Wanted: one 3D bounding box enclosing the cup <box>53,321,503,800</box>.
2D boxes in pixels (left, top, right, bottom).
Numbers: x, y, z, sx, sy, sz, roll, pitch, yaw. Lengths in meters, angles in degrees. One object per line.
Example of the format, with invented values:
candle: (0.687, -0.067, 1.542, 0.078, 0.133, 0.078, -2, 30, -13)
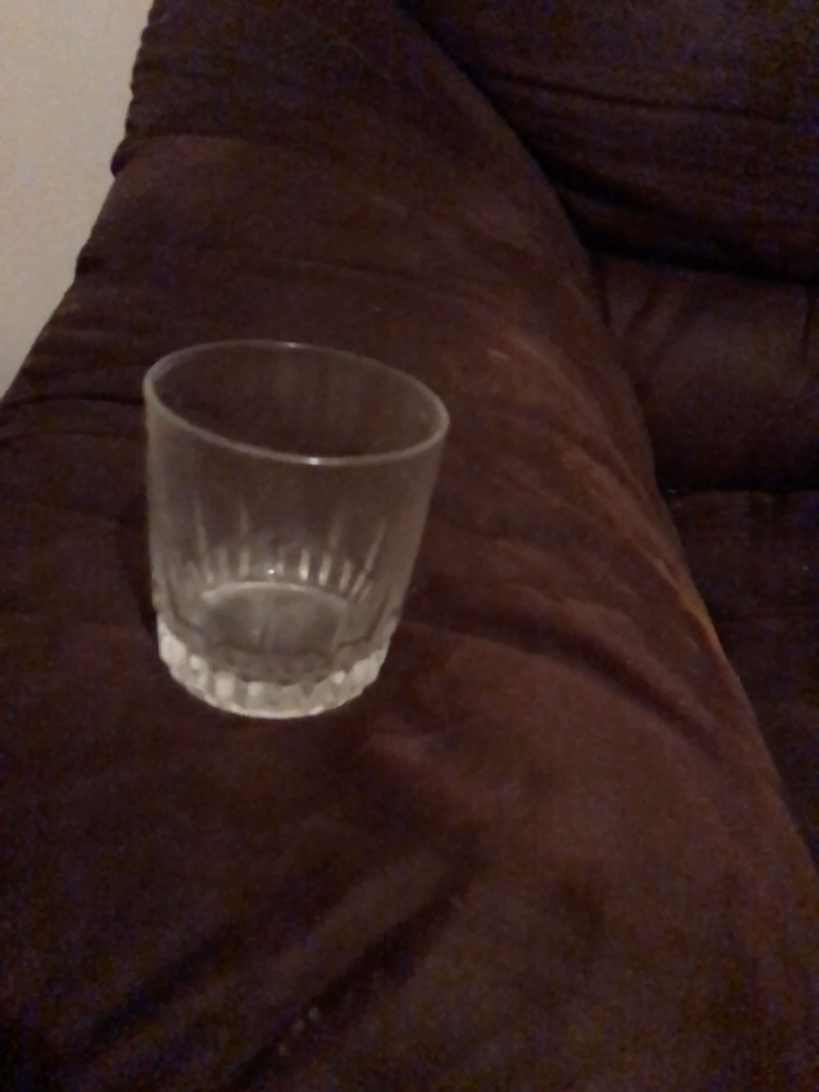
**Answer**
cup: (-0.034, -0.003, 0.253, 0.086, 0.086, 0.087, 8, 27, -4)
